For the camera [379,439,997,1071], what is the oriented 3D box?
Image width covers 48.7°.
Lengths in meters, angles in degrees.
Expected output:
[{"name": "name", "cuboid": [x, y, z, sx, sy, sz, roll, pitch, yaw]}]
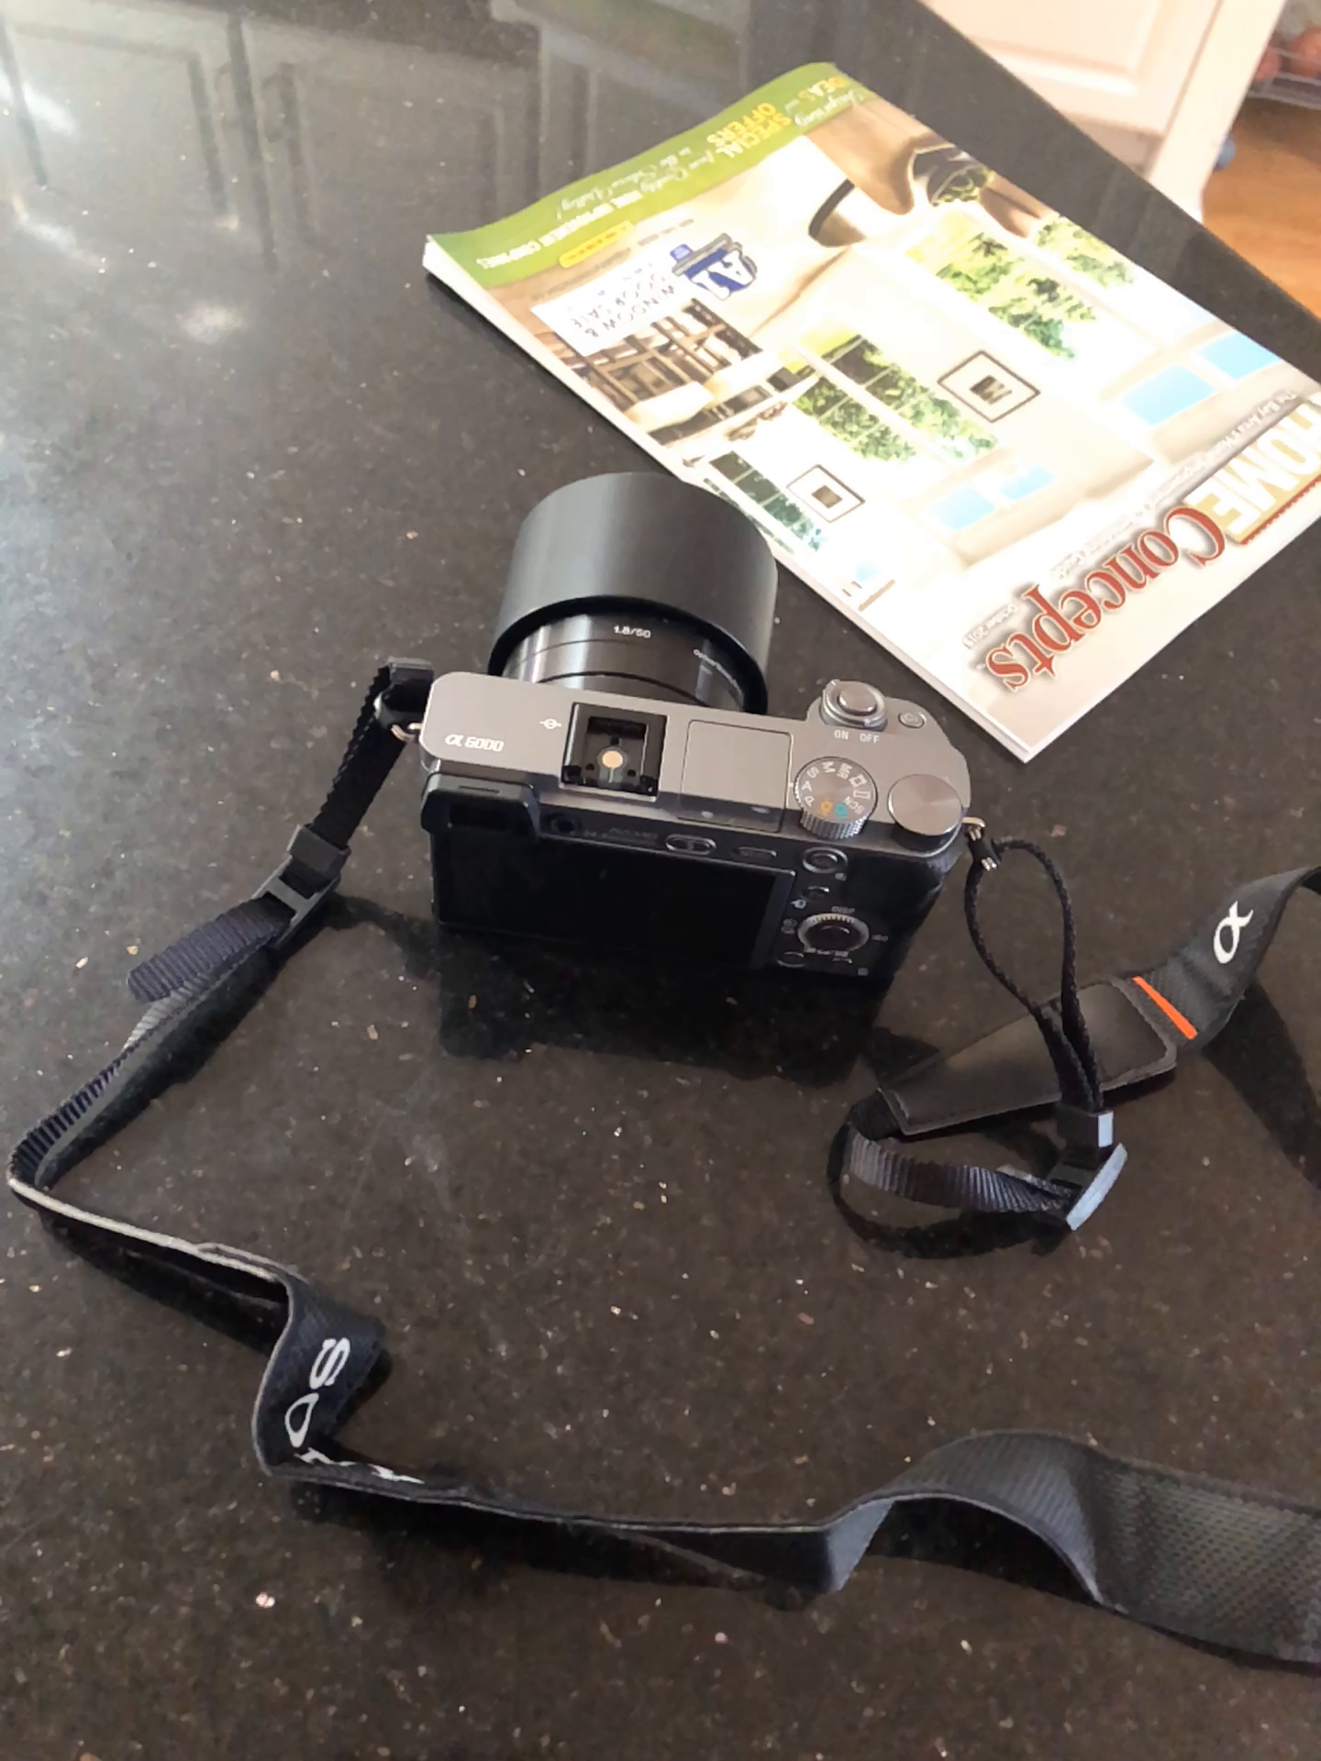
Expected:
[{"name": "camera", "cuboid": [0.007, -0.028, 0.364, 0.127, 0.100, 0.100, 9, 58, -2]}]
